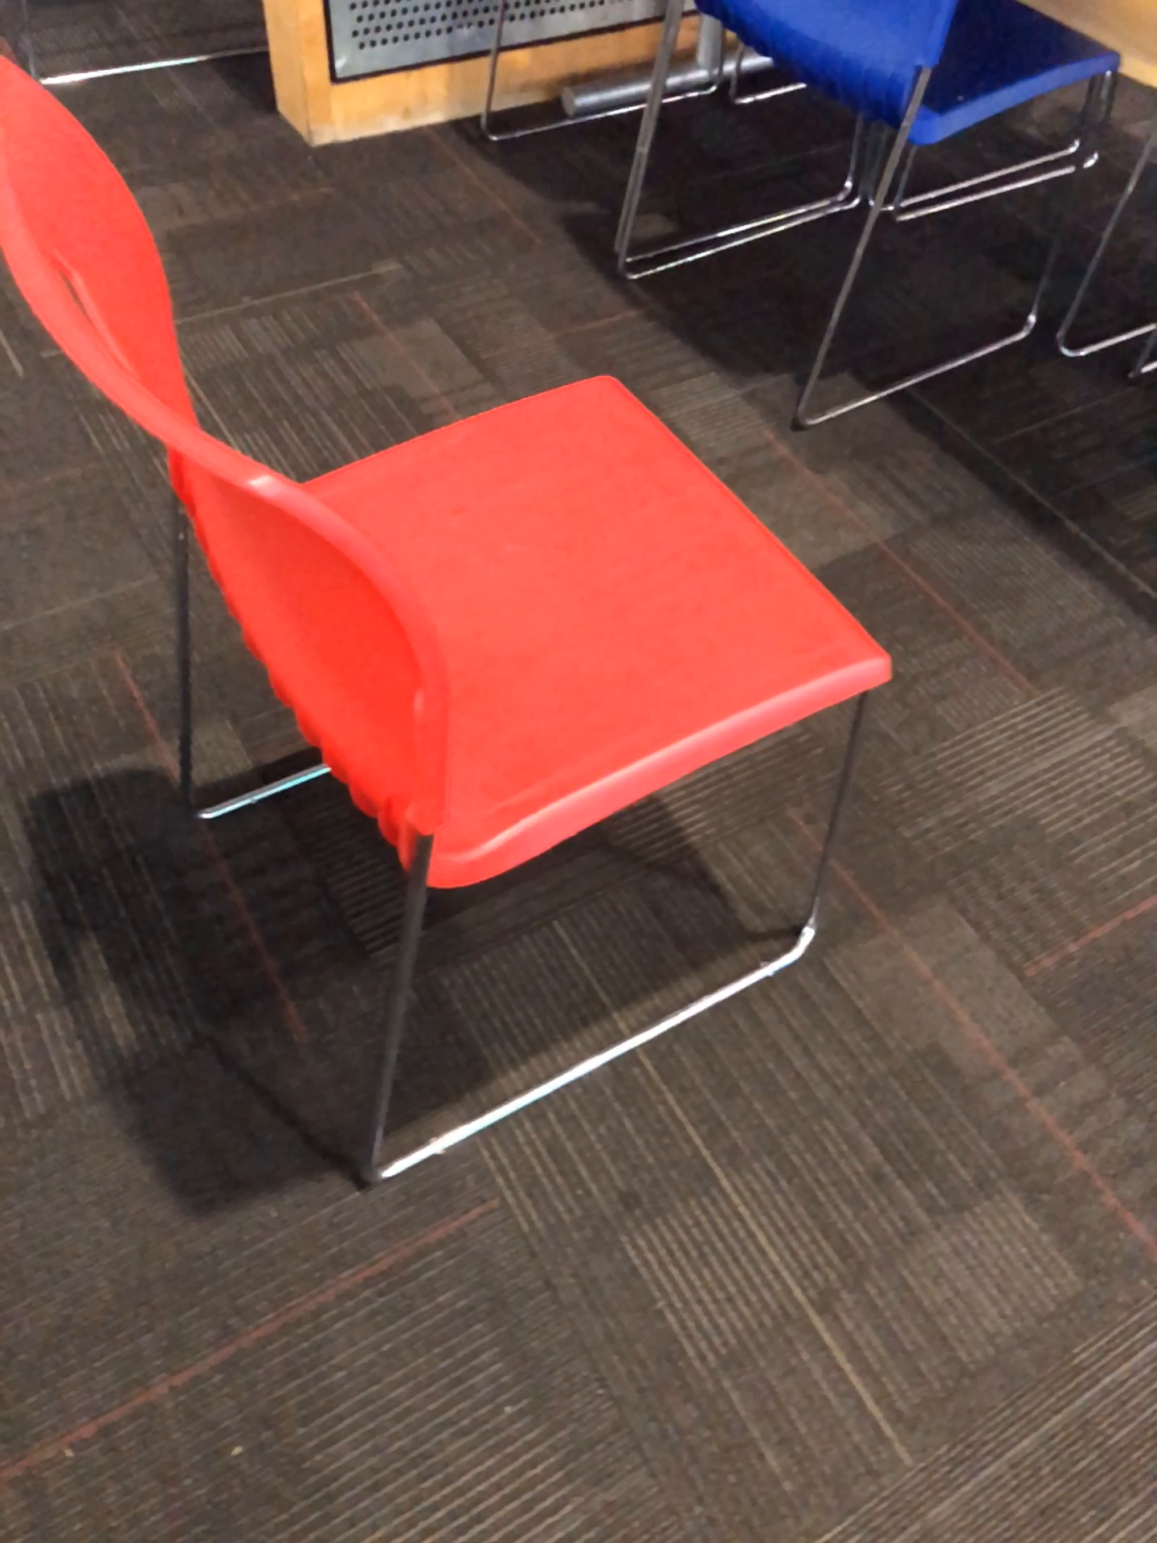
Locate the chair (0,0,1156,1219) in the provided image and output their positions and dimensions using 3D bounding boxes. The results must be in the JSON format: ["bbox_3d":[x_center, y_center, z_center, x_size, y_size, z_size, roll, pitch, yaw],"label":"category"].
[{"bbox_3d":[-0.070,-0.156,1.067,0.610,0.767,0.562,-22,56,-20],"label":"chair"}]
